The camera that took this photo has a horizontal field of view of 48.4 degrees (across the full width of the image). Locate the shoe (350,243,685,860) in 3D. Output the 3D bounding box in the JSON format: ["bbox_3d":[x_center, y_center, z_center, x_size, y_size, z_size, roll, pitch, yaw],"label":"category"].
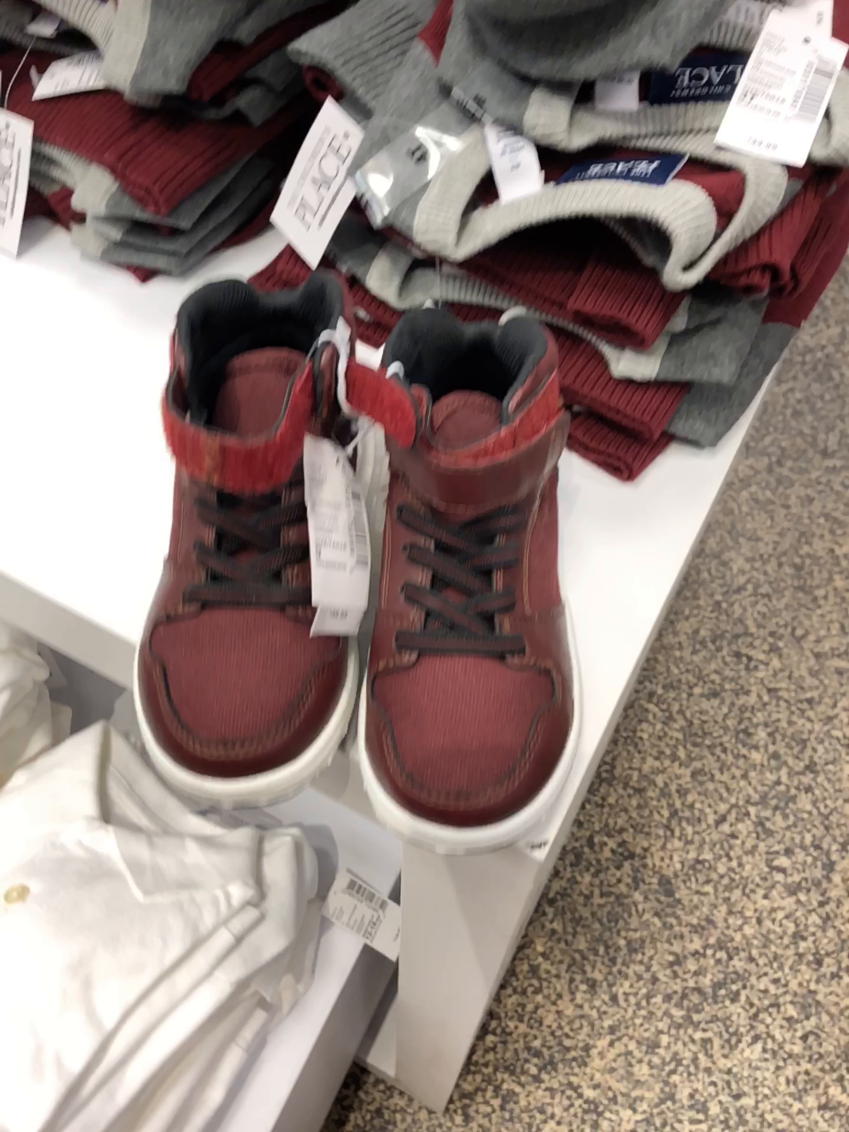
[{"bbox_3d":[0.022,-0.009,0.318,0.080,0.100,0.181,2,54,-1],"label":"shoe"}]

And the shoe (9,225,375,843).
[{"bbox_3d":[-0.055,-0.012,0.291,0.070,0.100,0.160,2,54,-1],"label":"shoe"}]
